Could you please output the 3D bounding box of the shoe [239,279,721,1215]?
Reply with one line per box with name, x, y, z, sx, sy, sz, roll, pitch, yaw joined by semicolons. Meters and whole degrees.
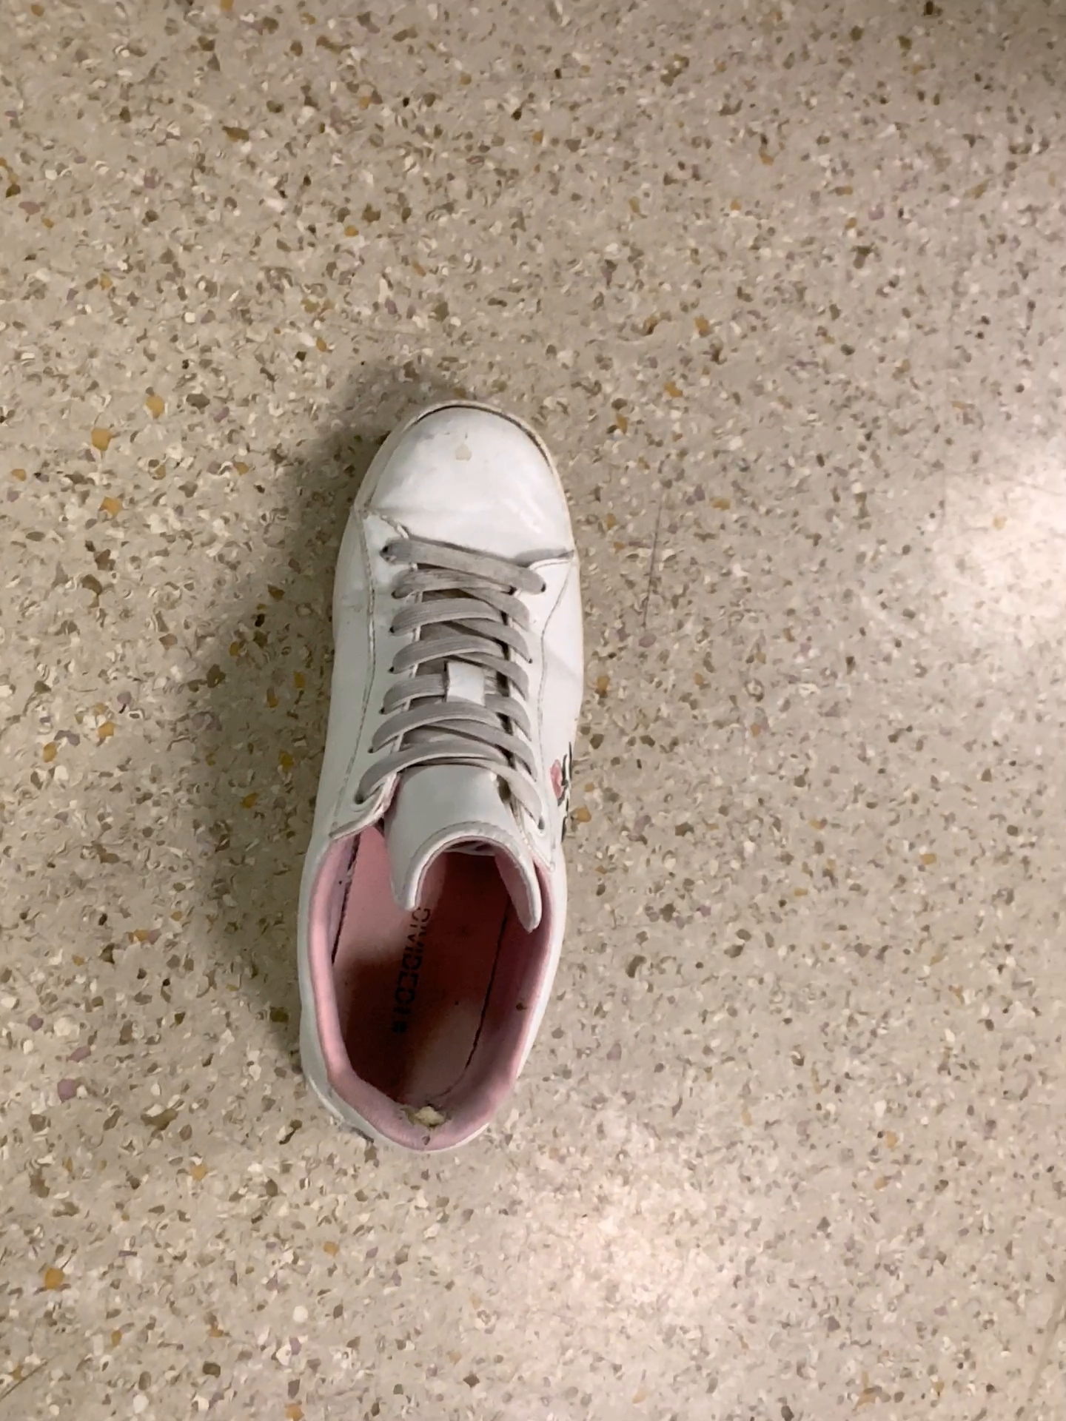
shoe;-0.021;0.014;0.356;0.098;0.093;0.255;10;84;-18
